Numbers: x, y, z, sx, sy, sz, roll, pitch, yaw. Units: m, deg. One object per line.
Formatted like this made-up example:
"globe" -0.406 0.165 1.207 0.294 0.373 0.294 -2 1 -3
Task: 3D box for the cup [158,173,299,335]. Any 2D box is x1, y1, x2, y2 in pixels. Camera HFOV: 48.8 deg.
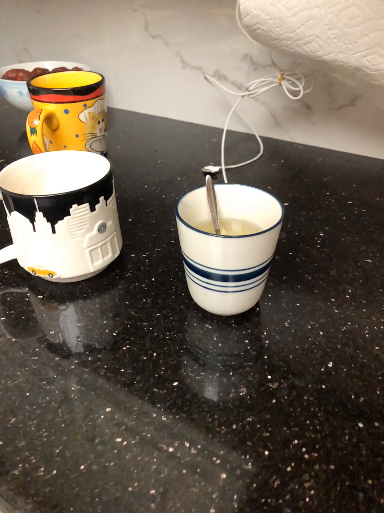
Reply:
"cup" 0.027 -0.009 0.381 0.100 0.080 0.141 0 35 1

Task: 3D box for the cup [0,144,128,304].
"cup" -0.143 -0.037 0.419 0.140 0.099 0.111 -7 35 -10

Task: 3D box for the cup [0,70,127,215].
"cup" -0.150 -0.144 0.521 0.090 0.129 0.131 7 35 10
